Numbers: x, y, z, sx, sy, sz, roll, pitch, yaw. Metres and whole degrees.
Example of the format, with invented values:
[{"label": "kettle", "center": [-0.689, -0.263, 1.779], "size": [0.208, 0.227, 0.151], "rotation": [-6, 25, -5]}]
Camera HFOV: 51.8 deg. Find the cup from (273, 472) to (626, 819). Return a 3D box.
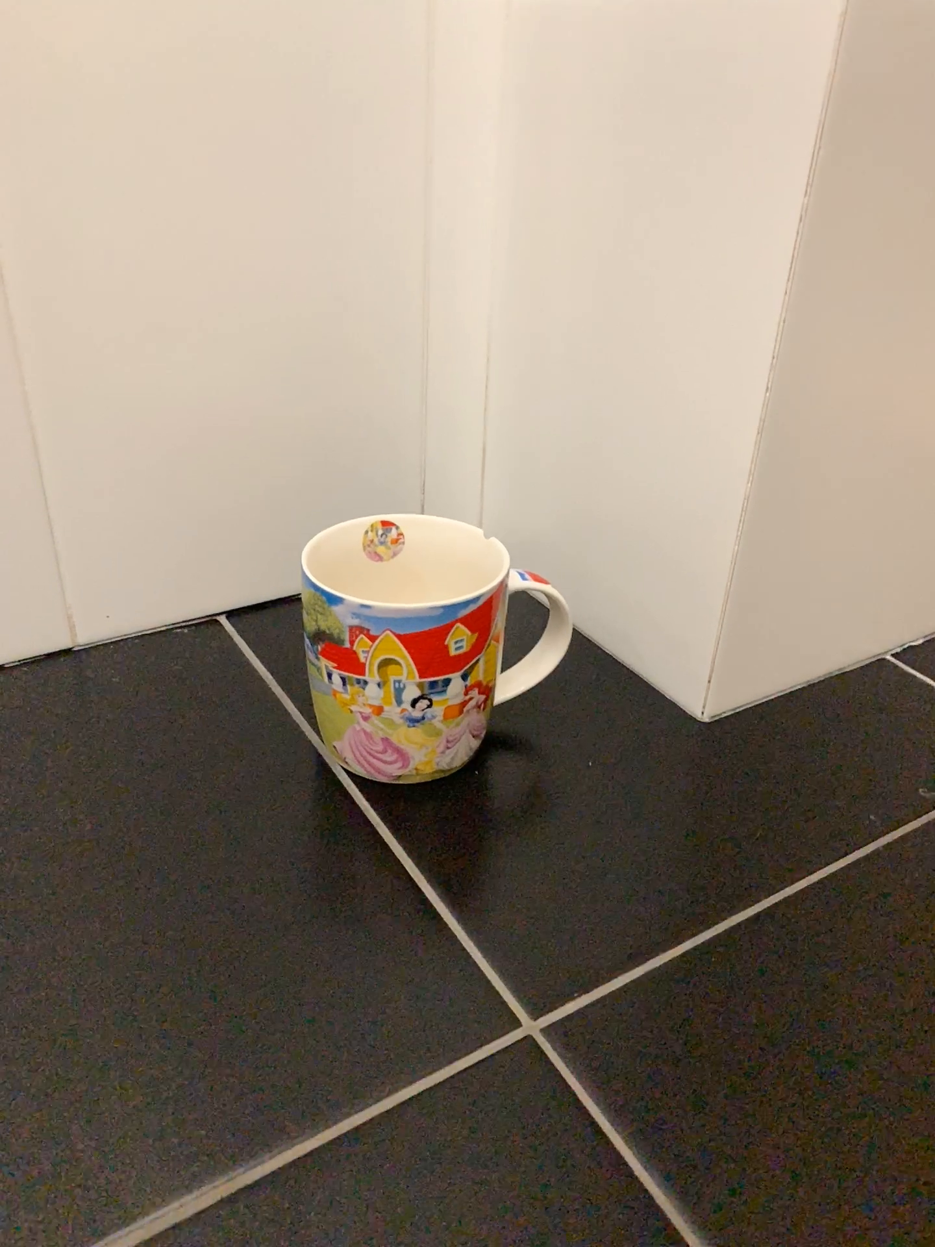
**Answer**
[{"label": "cup", "center": [-0.010, 0.003, 0.435], "size": [0.124, 0.099, 0.086], "rotation": [-18, 36, -31]}]
